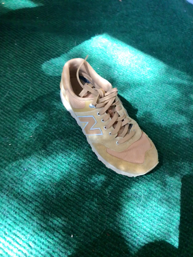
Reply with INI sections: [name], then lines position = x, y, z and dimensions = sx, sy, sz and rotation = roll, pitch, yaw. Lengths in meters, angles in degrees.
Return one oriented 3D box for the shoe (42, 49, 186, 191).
[shoe]
position = 0.019, -0.025, 0.418
dimensions = 0.111, 0.099, 0.260
rotation = -36, 70, -26
